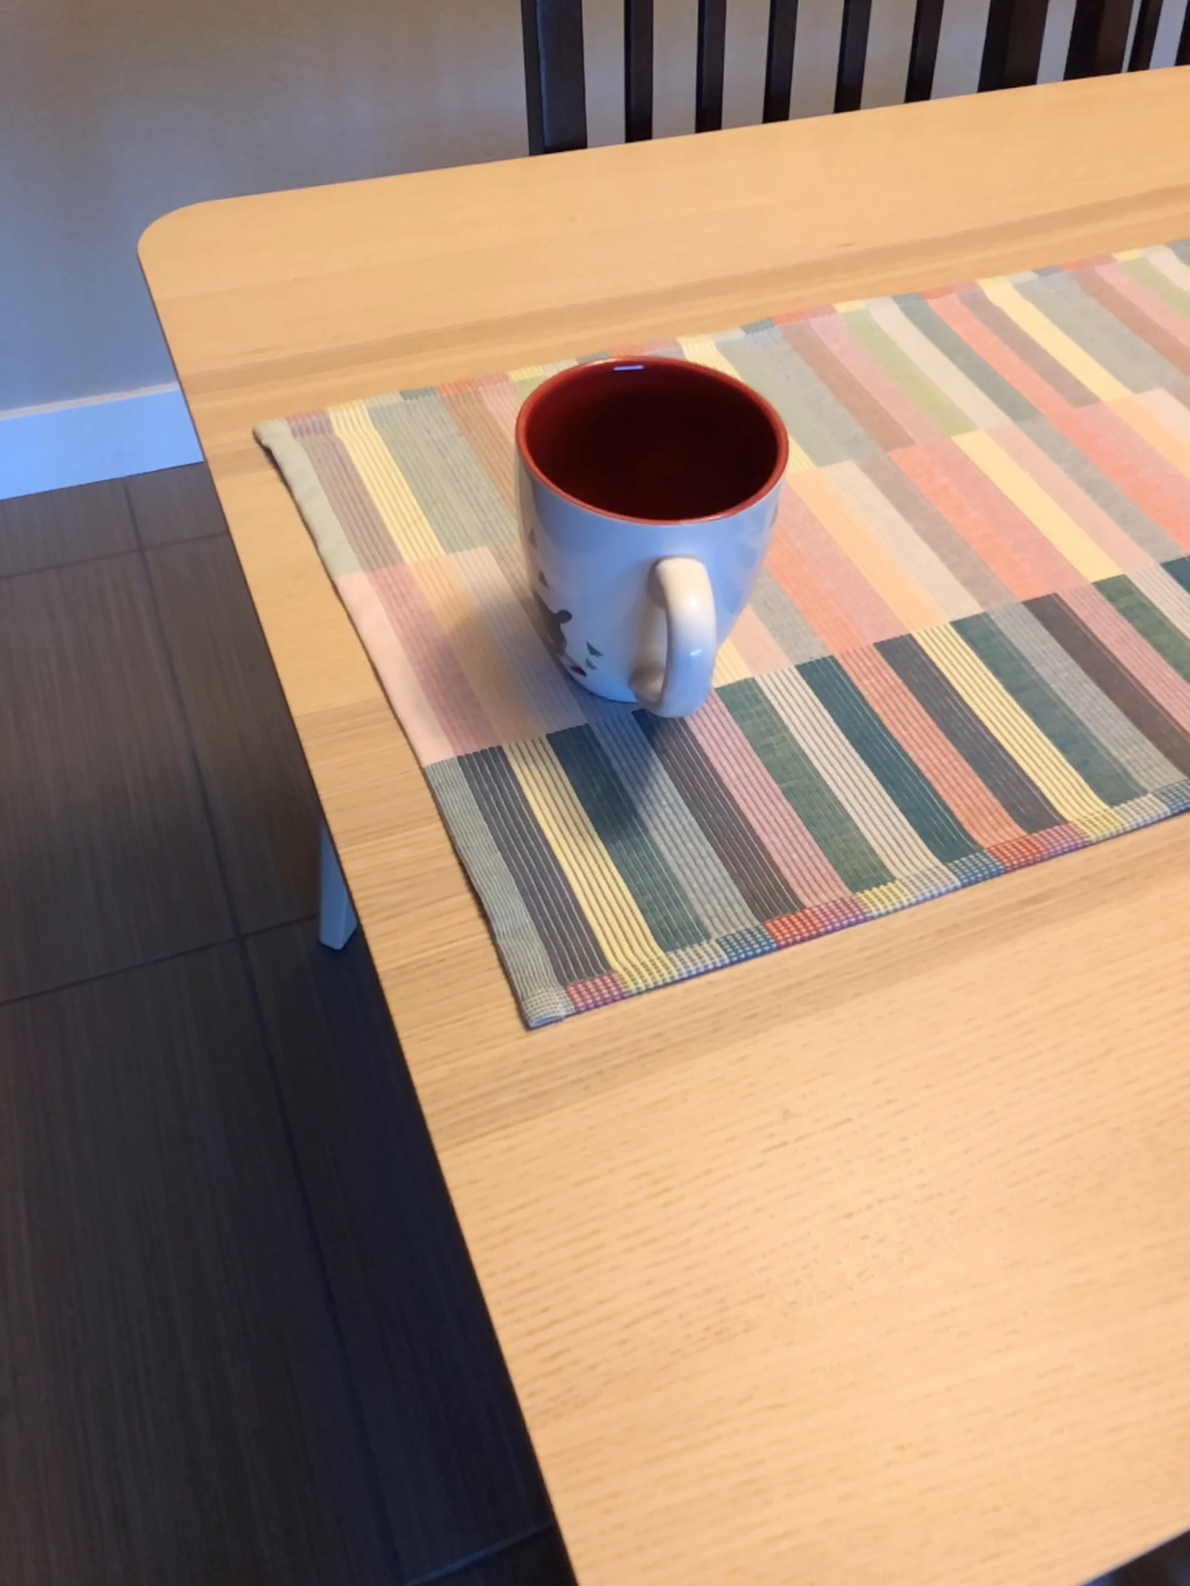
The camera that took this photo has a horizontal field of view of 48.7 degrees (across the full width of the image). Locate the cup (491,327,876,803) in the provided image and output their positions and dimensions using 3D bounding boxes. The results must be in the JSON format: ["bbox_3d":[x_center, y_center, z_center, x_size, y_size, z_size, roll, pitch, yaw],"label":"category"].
[{"bbox_3d":[0.021,-0.083,0.462,0.100,0.090,0.141,-5,50,-7],"label":"cup"}]
